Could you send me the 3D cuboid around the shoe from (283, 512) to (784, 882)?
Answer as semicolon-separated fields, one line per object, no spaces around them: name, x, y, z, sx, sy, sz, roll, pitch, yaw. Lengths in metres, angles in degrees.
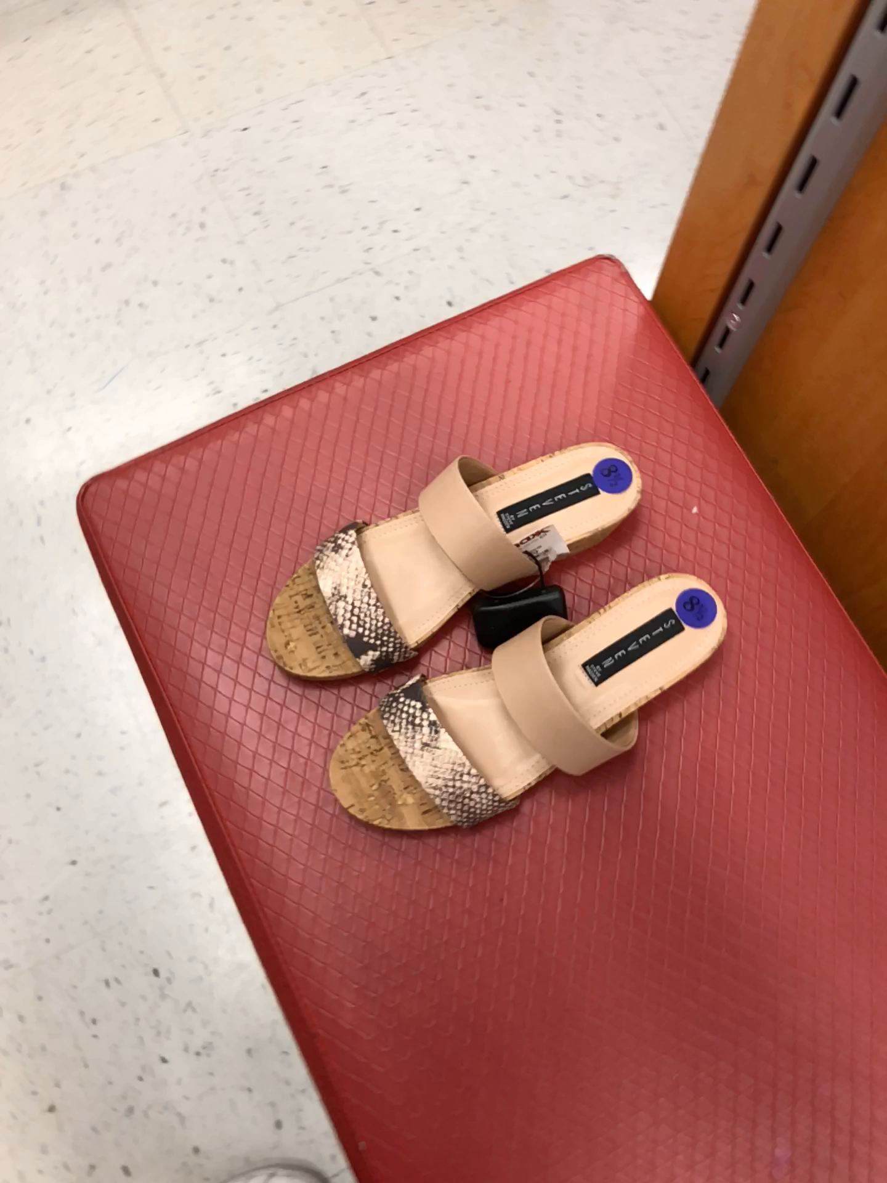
shoe;0.050;0.063;0.574;0.257;0.085;0.096;-25;74;-9

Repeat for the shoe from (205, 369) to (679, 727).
shoe;0.000;-0.025;0.605;0.257;0.085;0.095;-26;74;-9
